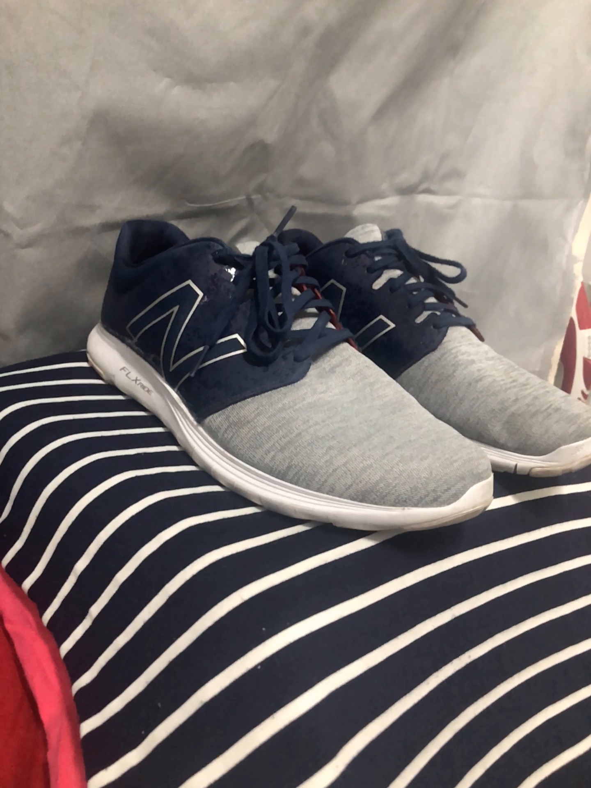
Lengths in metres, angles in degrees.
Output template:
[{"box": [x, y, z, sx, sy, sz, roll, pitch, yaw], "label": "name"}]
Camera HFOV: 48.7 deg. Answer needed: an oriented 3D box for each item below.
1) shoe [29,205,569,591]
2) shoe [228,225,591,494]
[{"box": [-0.029, -0.034, 0.387, 0.120, 0.089, 0.321, -14, 32, -42], "label": "shoe"}, {"box": [0.087, -0.046, 0.442, 0.120, 0.079, 0.261, -14, 32, -42], "label": "shoe"}]
